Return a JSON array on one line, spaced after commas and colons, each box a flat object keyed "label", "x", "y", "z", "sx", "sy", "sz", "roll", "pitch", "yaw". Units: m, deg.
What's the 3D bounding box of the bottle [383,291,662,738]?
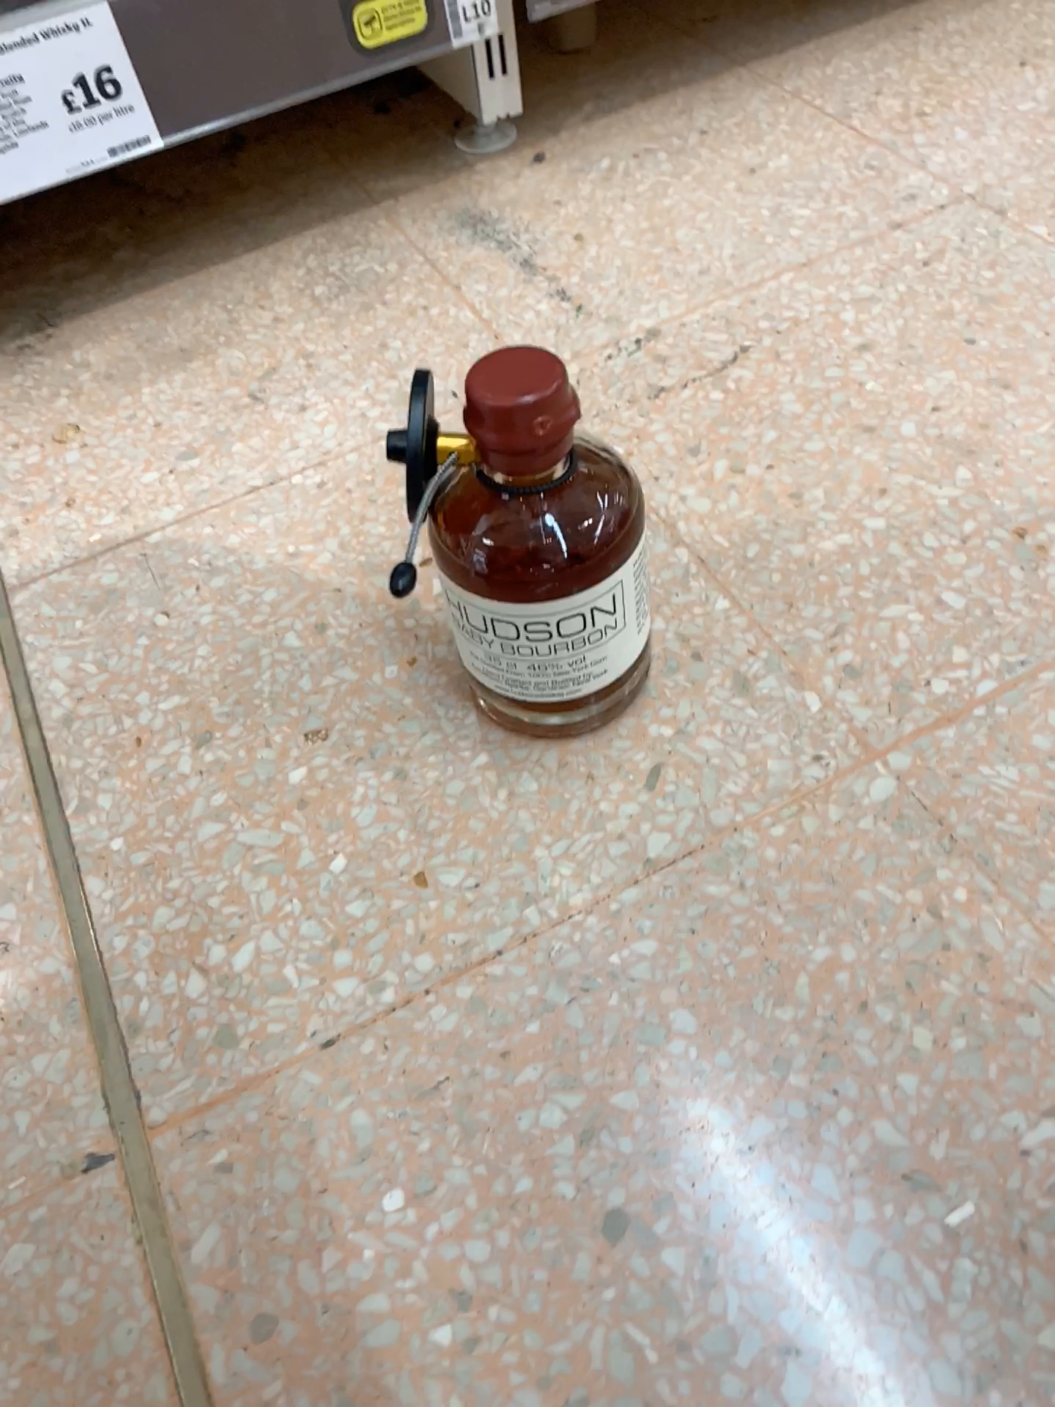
[{"label": "bottle", "x": 0.007, "y": -0.059, "z": 0.383, "sx": 0.075, "sy": 0.142, "sz": 0.073, "roll": -4, "pitch": 51, "yaw": 5}]
